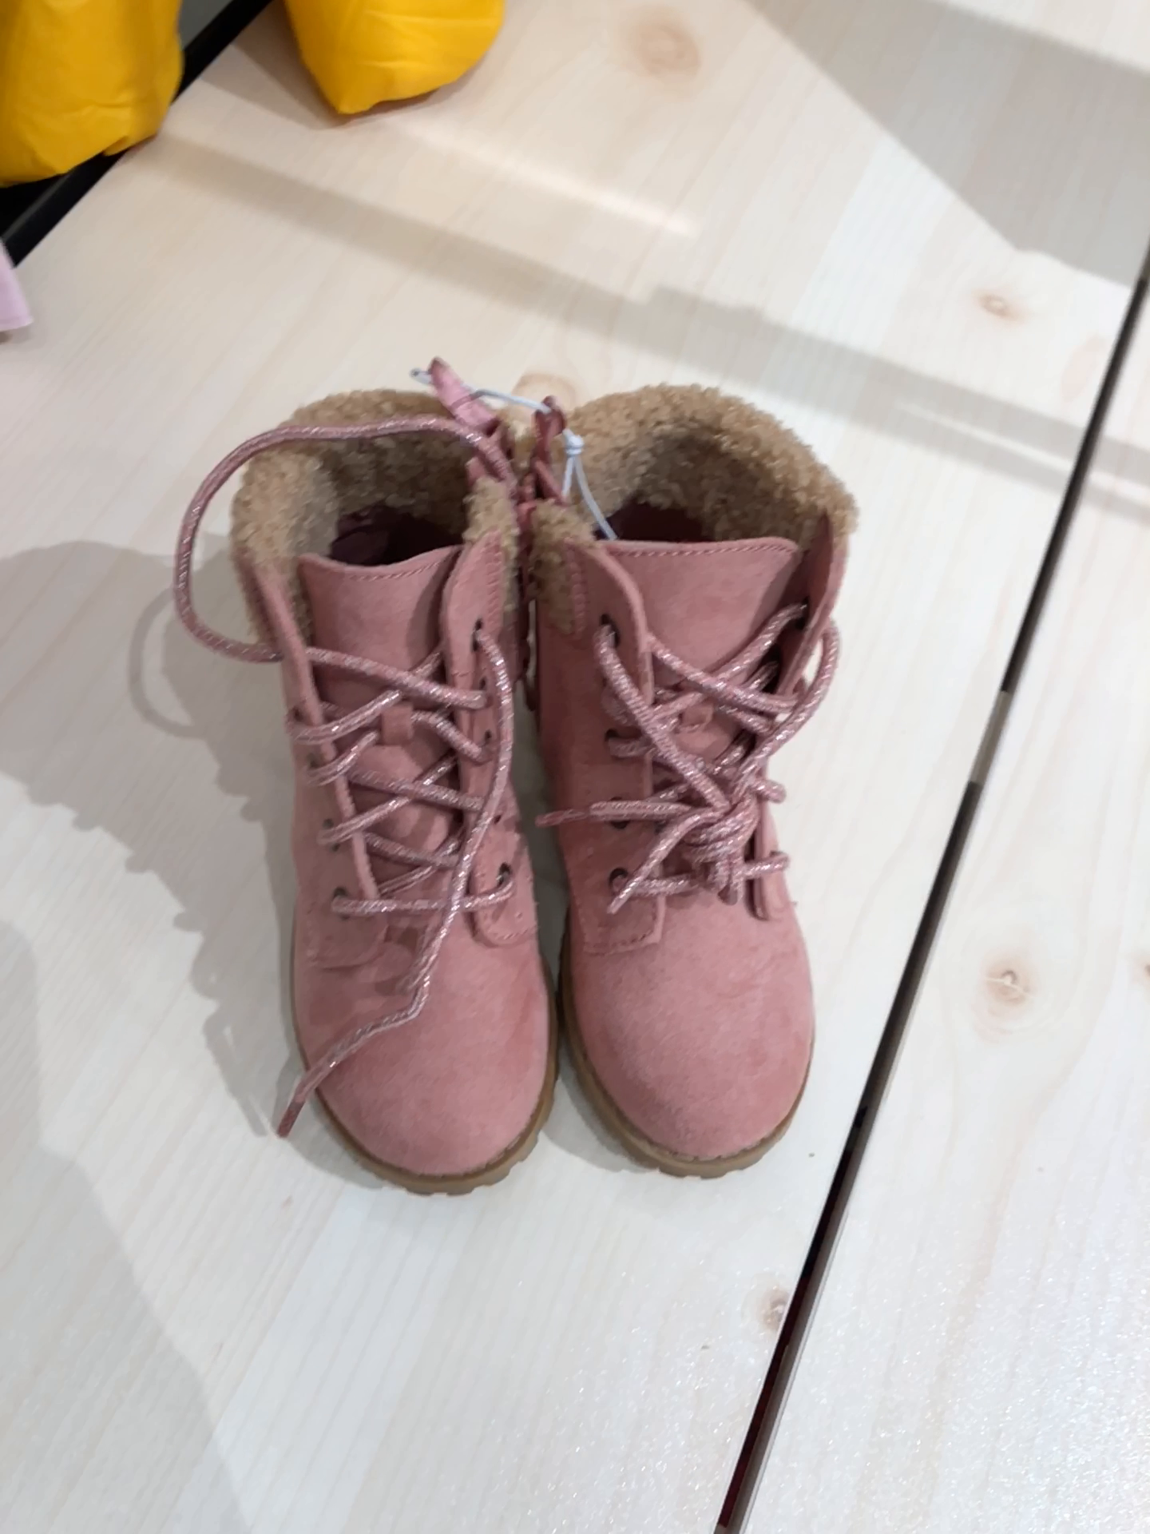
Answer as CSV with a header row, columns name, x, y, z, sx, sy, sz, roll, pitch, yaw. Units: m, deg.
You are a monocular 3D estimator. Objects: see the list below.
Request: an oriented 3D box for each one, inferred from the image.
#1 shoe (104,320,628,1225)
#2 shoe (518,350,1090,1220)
name,x,y,z,sx,sy,sz,roll,pitch,yaw
shoe,-0.043,0.006,0.287,0.080,0.120,0.160,-4,62,-5
shoe,0.034,0.008,0.299,0.080,0.120,0.160,-4,62,-5
